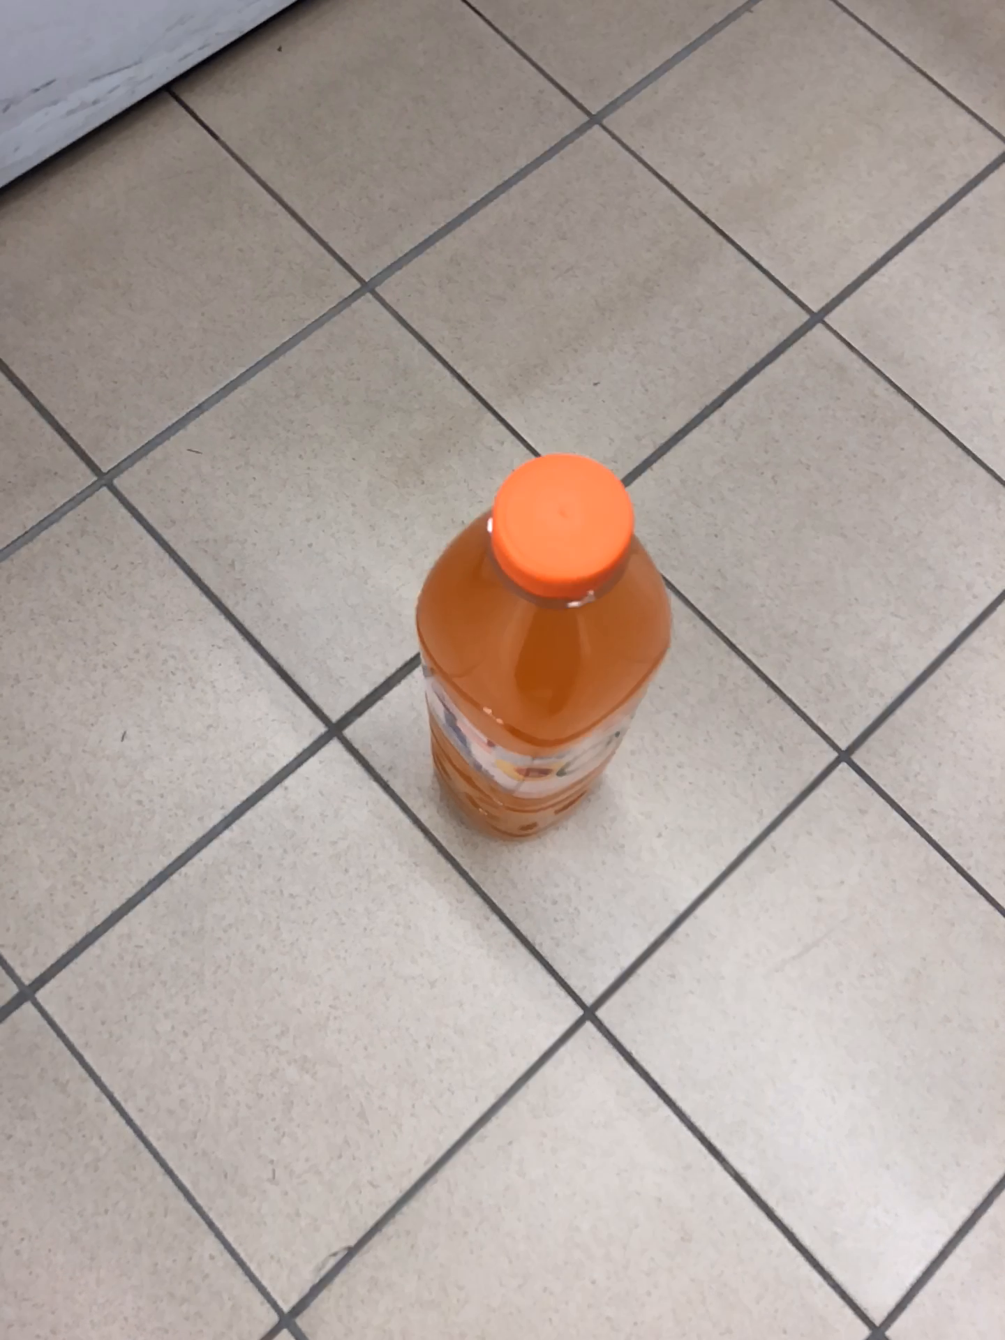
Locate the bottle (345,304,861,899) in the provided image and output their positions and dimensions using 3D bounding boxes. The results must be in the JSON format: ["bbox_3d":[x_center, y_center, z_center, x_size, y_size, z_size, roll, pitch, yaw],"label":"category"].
[{"bbox_3d":[0.020,0.005,0.443,0.100,0.299,0.100,1,72,-3],"label":"bottle"}]
